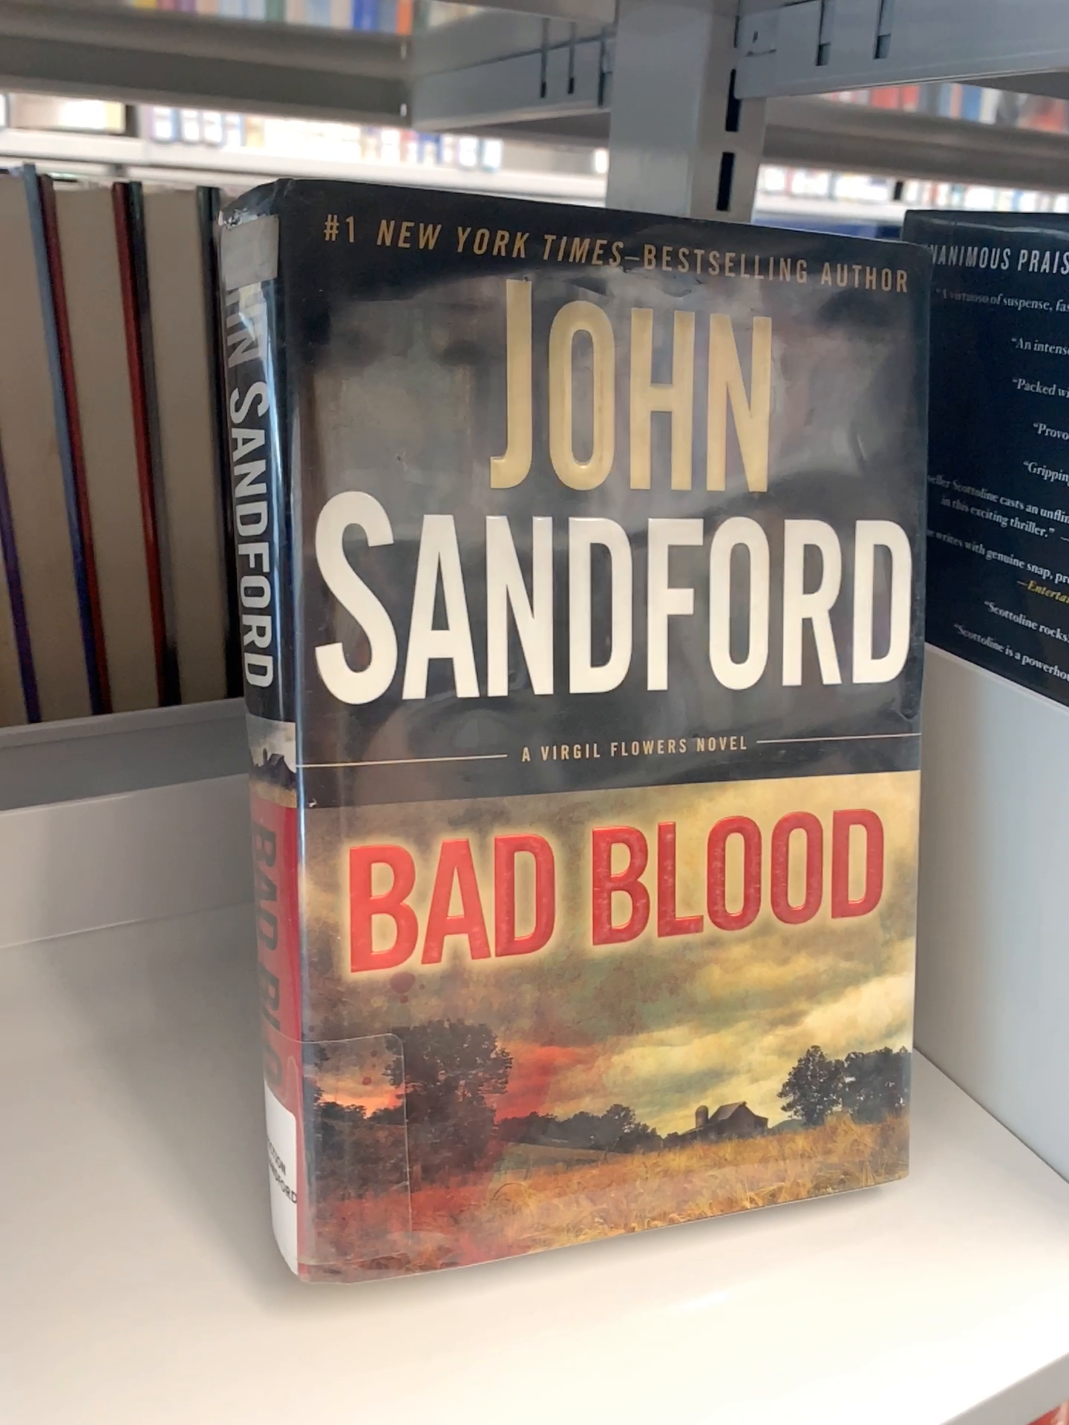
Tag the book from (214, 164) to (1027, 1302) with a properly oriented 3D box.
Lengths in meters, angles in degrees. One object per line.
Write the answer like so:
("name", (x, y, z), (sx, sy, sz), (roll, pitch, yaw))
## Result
("book", (0.019, 0.003, 0.253), (0.165, 0.215, 0.050), (-4, 10, -16))
